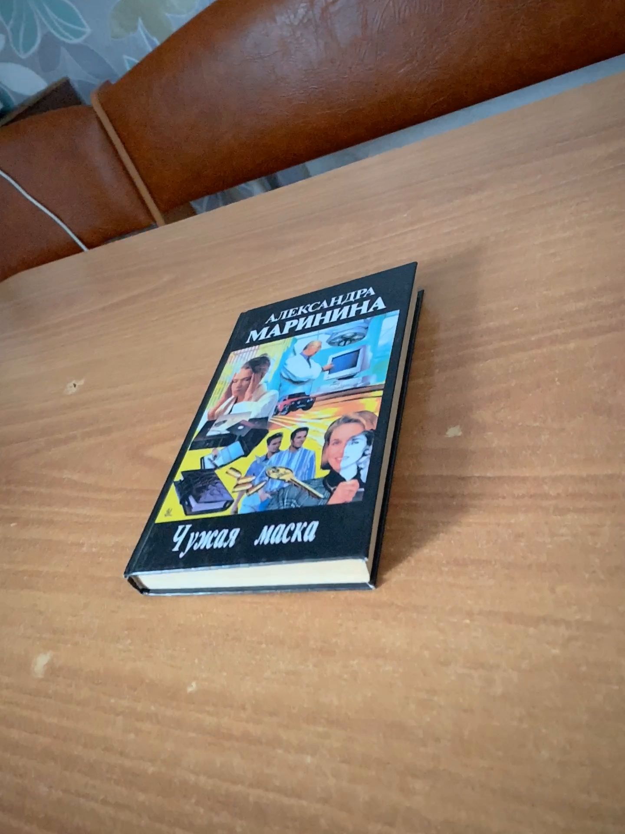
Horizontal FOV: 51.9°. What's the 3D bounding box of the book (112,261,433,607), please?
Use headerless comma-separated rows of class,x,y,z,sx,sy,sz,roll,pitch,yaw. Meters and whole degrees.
book,-0.011,0.002,0.349,0.130,0.030,0.201,-11,42,28
